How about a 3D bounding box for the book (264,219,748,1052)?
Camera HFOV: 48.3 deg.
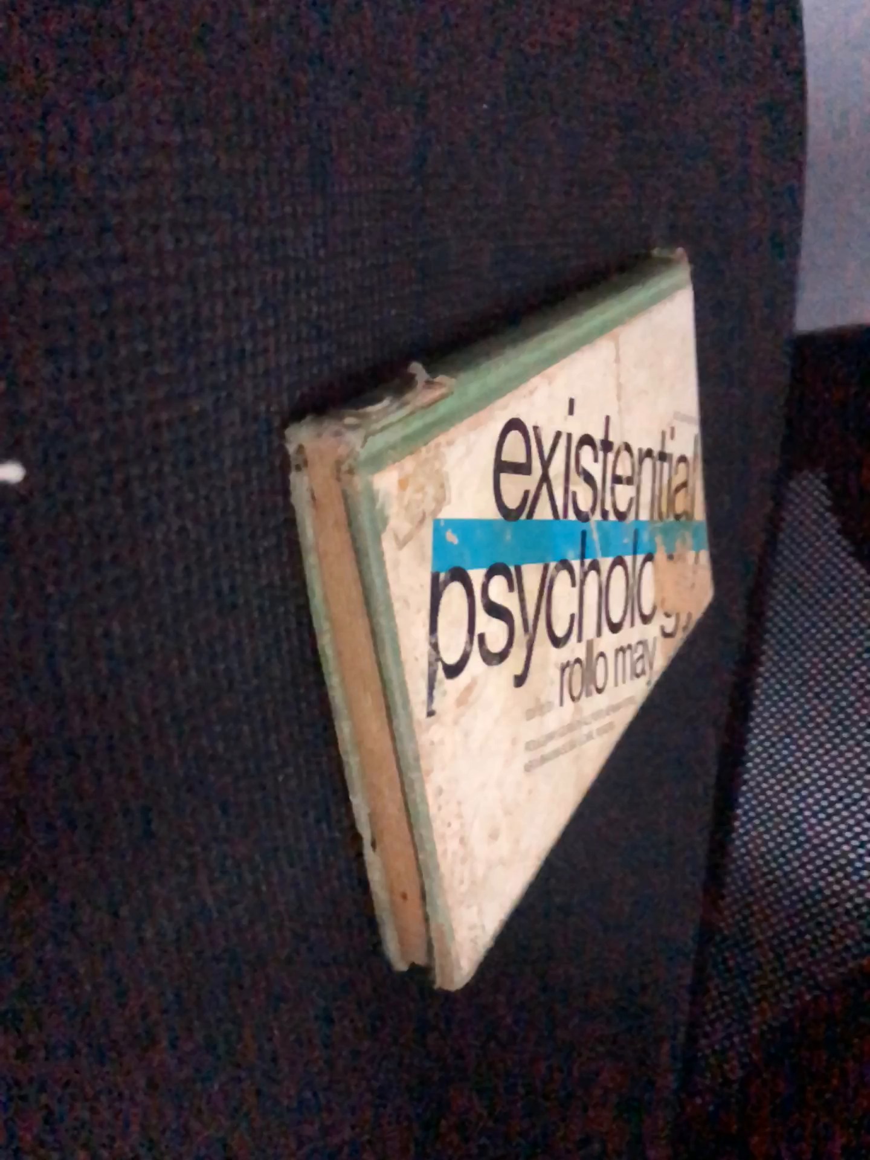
[{"bbox_3d":[0.042,-0.009,0.241,0.201,0.020,0.125,-40,129,-50],"label":"book"}]
